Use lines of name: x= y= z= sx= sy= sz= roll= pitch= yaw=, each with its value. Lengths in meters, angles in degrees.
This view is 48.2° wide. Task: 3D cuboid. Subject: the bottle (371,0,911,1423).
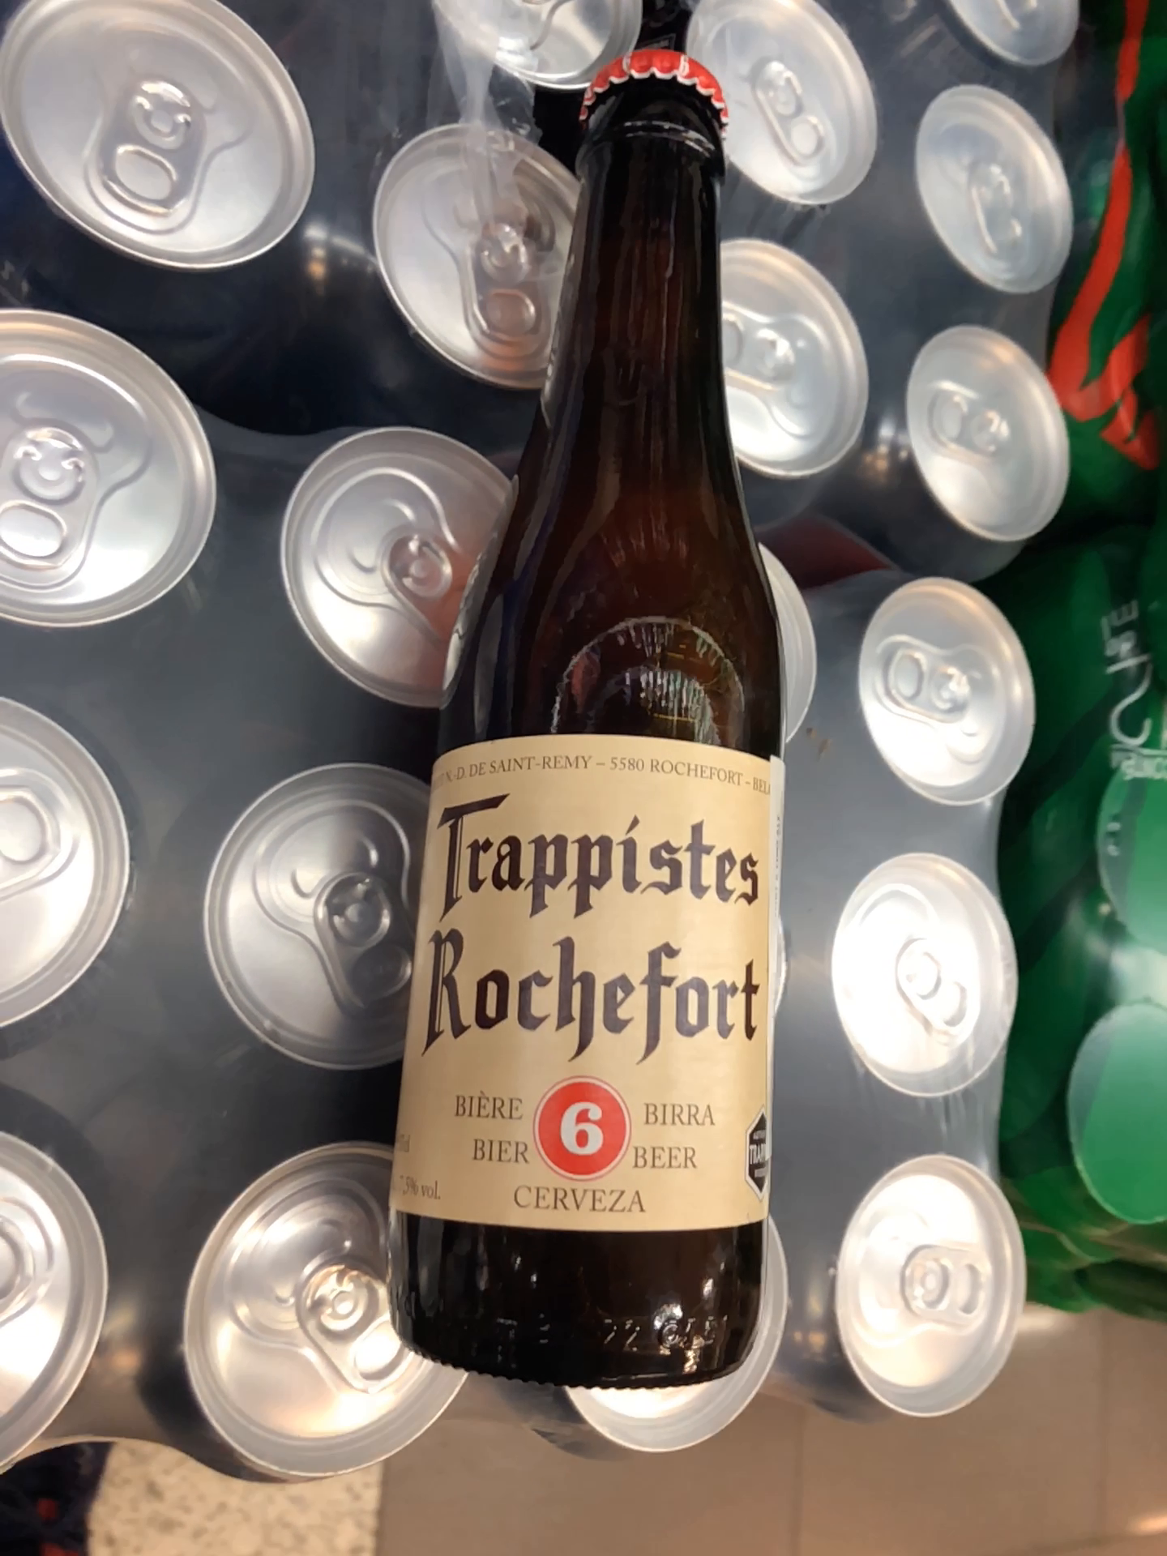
bottle: x=0.013 y=-0.029 z=0.221 sx=0.060 sy=0.050 sz=0.240 roll=10 pitch=78 yaw=-27
